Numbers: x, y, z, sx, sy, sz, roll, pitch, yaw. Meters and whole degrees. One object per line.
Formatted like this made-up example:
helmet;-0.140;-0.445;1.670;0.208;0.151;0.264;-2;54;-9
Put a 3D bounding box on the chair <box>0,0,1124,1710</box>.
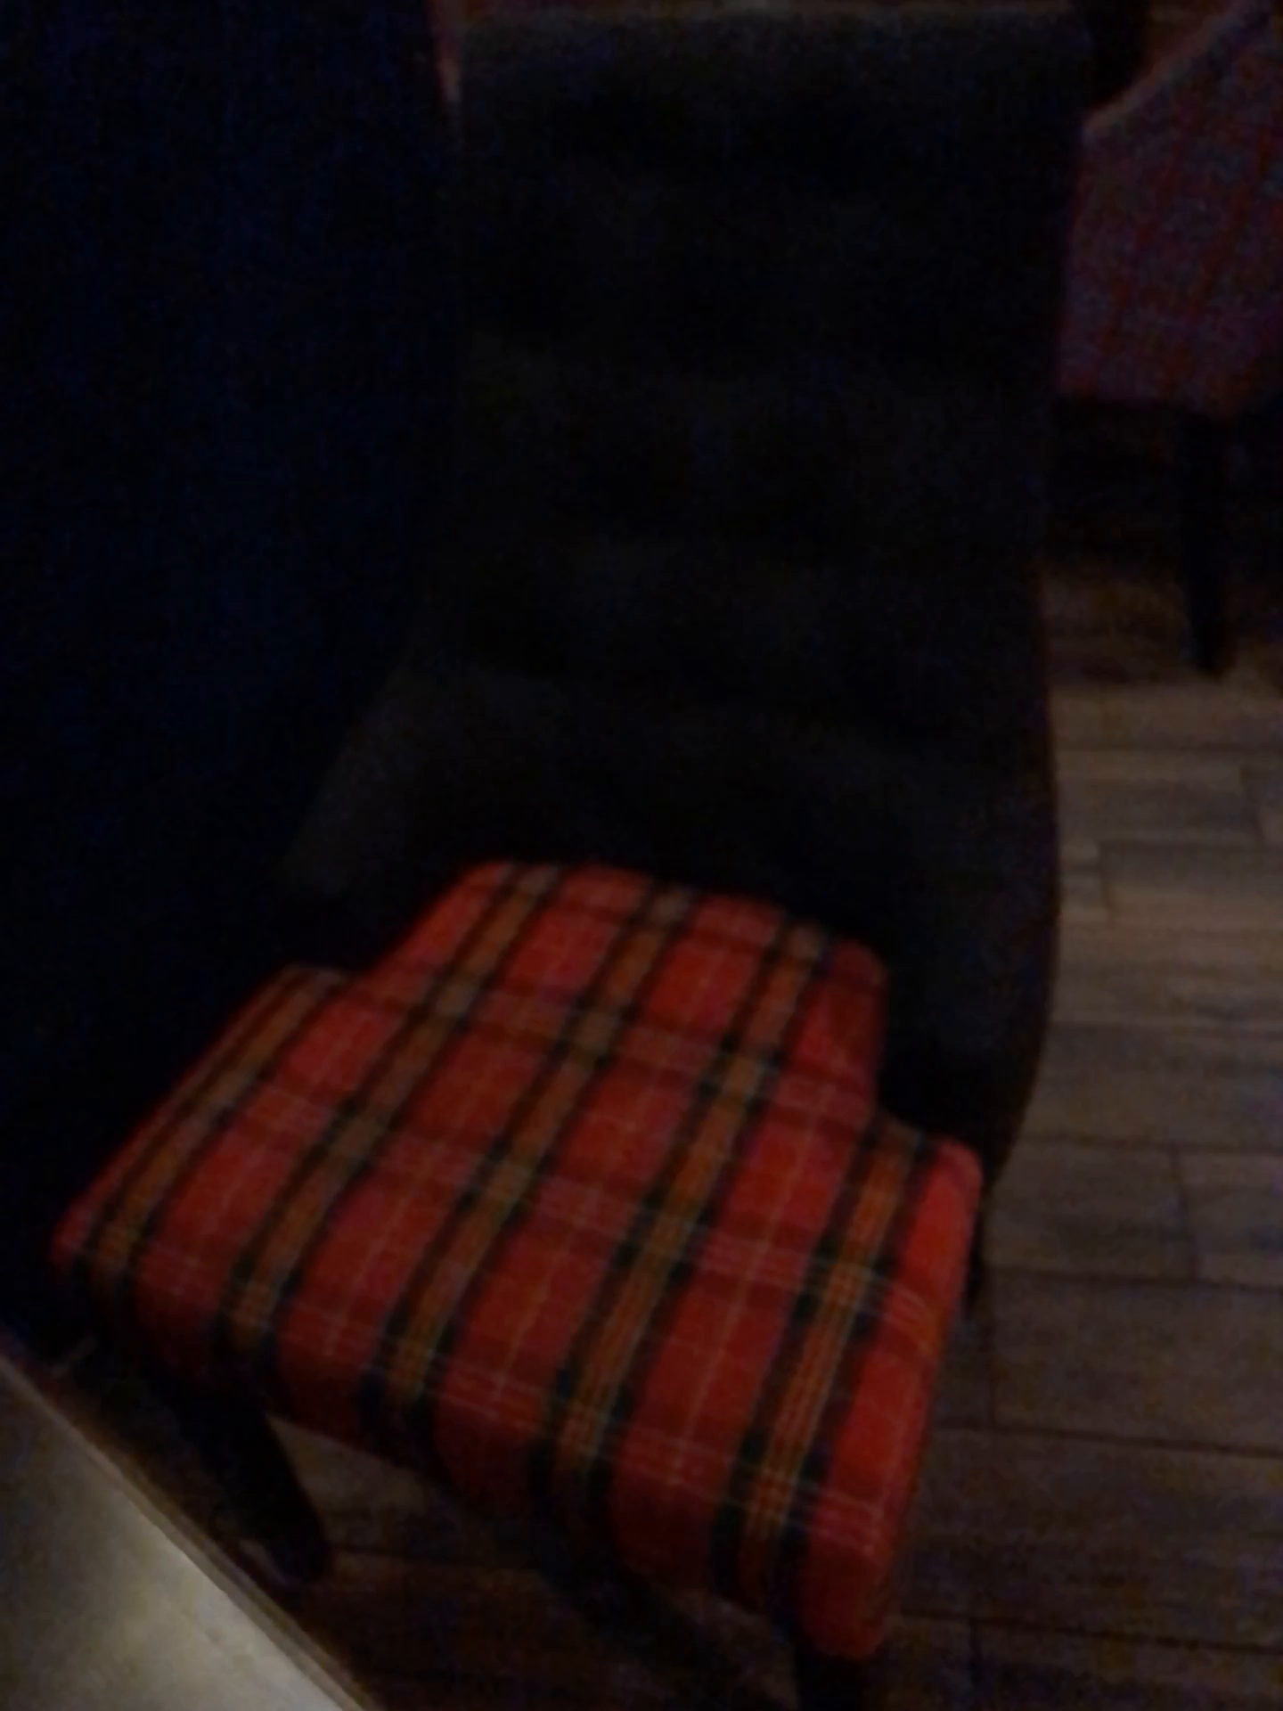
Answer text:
chair;-0.062;0.079;0.919;0.520;1.003;0.614;11;43;22
